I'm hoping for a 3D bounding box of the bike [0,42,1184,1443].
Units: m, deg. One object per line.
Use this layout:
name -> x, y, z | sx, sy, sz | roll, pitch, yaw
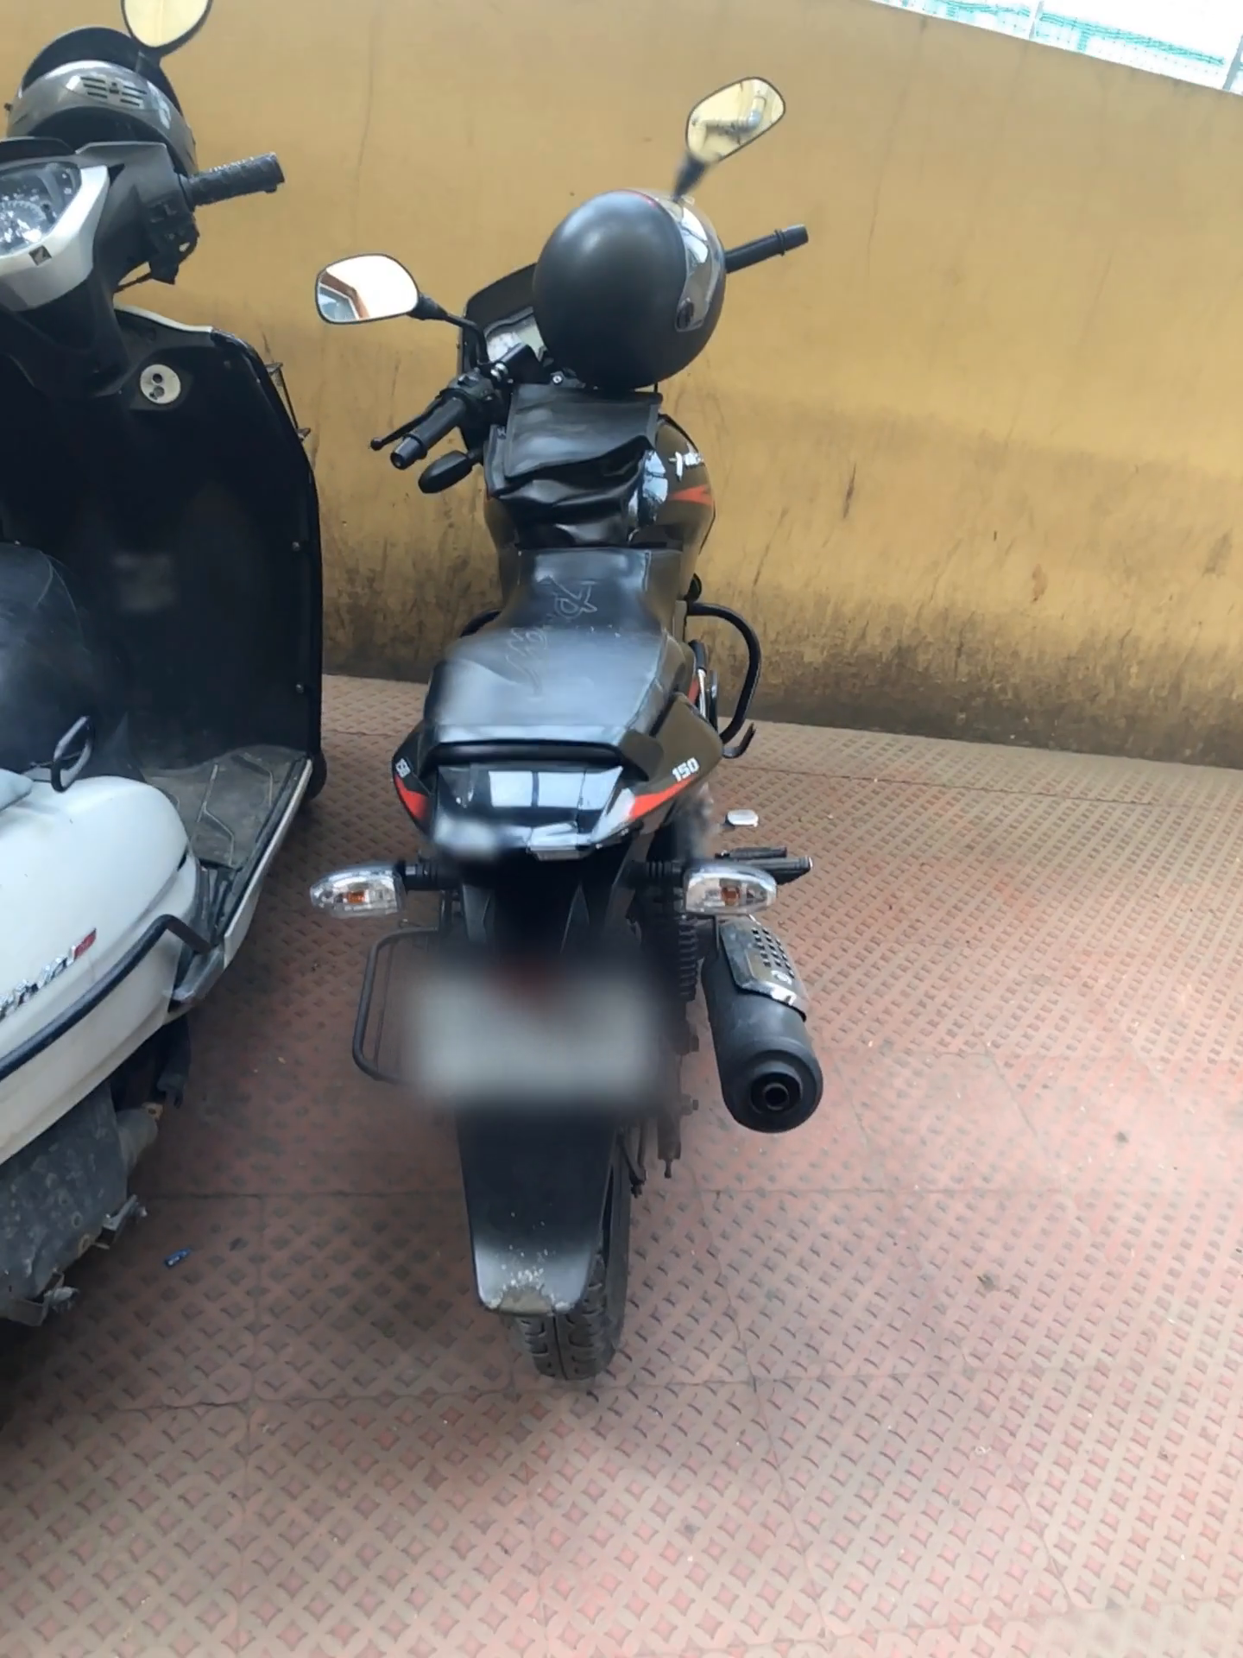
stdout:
bike -> -0.207, -0.277, 1.844 | 0.826, 1.057, 1.612 | 6, 34, -12
